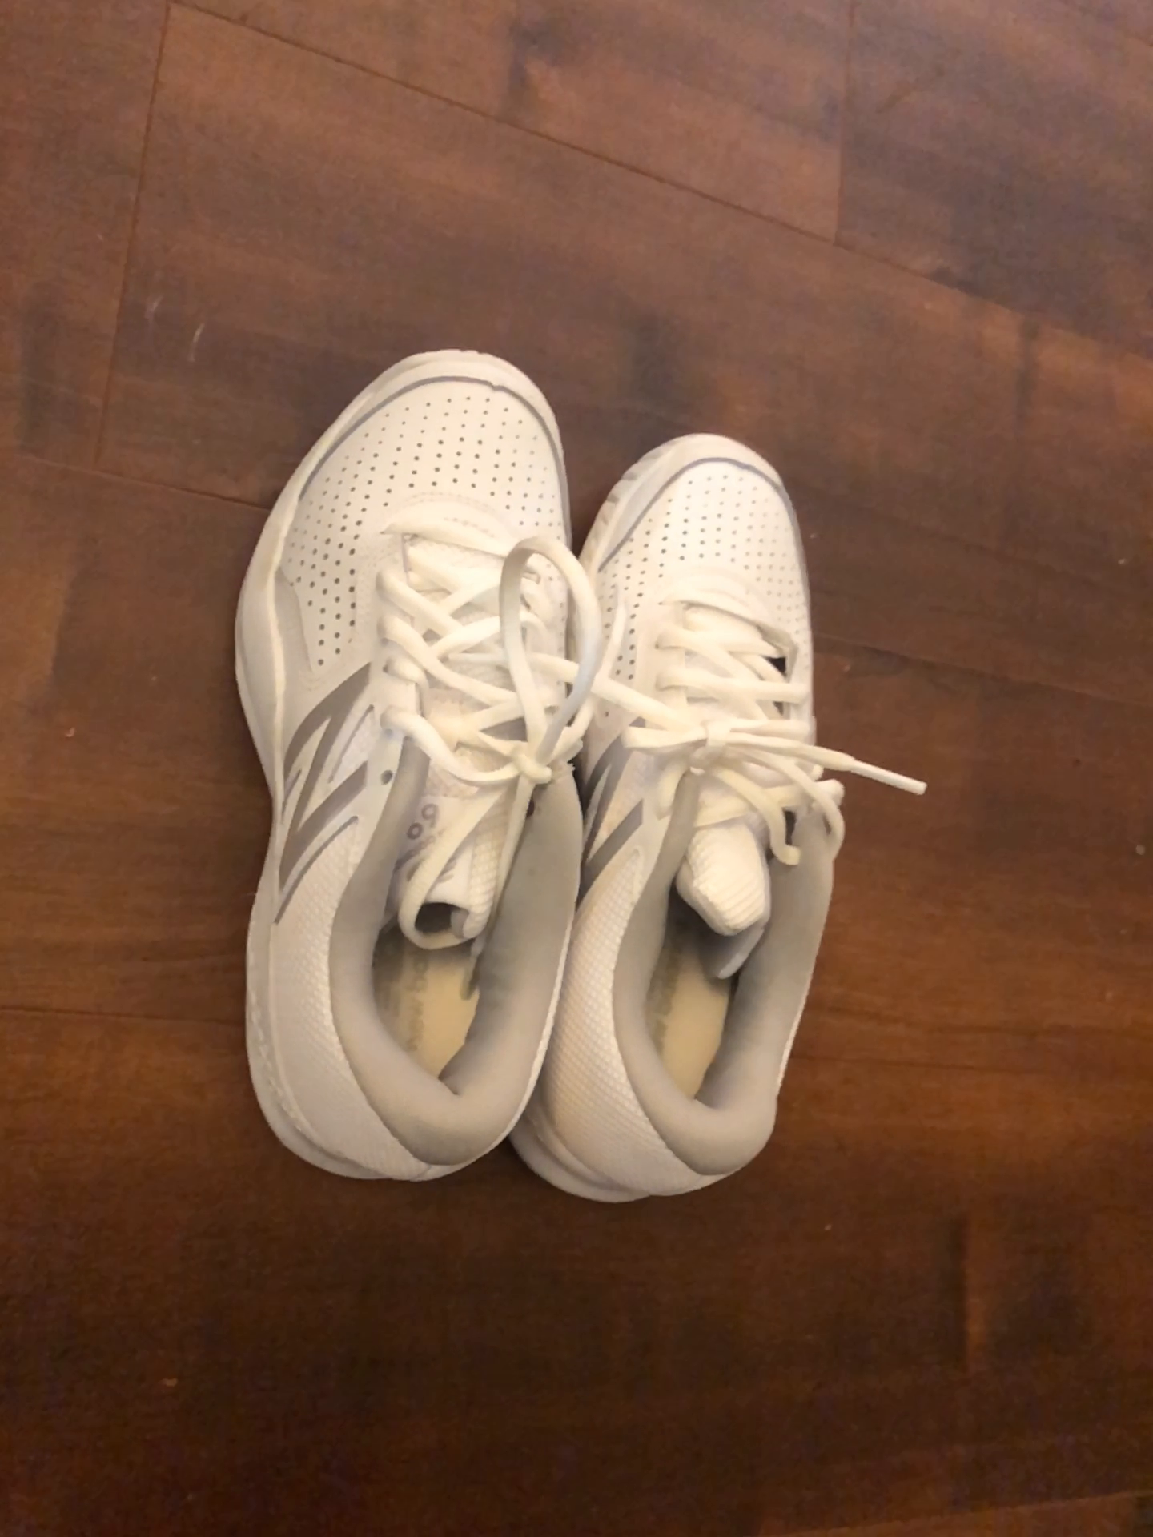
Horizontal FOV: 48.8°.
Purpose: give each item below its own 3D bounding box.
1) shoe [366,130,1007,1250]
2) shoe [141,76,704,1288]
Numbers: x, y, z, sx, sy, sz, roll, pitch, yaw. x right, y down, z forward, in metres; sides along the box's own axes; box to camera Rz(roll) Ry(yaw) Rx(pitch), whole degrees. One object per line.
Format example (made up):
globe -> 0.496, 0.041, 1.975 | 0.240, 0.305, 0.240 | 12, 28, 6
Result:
shoe -> 0.031, -0.017, 0.447 | 0.120, 0.170, 0.310 | 13, 79, -20
shoe -> -0.051, -0.019, 0.394 | 0.100, 0.130, 0.310 | 10, 80, -23
